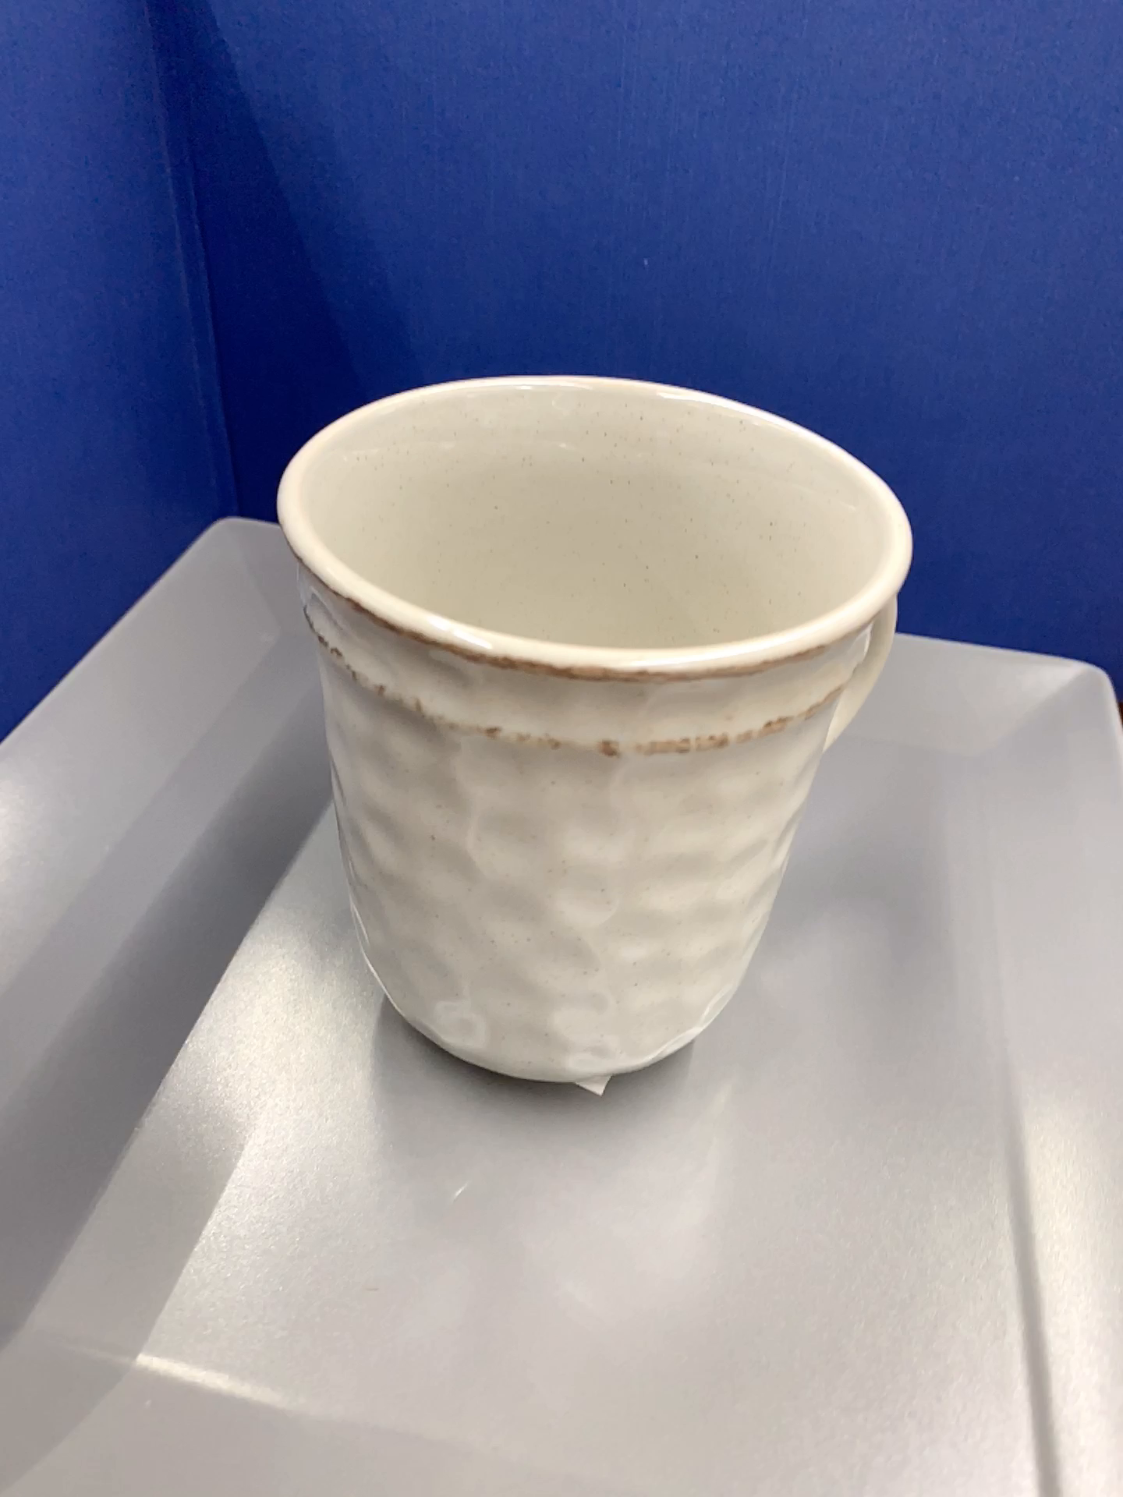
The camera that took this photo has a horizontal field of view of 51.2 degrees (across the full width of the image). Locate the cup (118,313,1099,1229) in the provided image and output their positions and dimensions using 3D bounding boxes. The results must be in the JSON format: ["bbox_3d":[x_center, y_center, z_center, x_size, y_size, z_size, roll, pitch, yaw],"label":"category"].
[{"bbox_3d":[0.013,-0.012,0.207,0.101,0.082,0.123,26,42,28],"label":"cup"}]
